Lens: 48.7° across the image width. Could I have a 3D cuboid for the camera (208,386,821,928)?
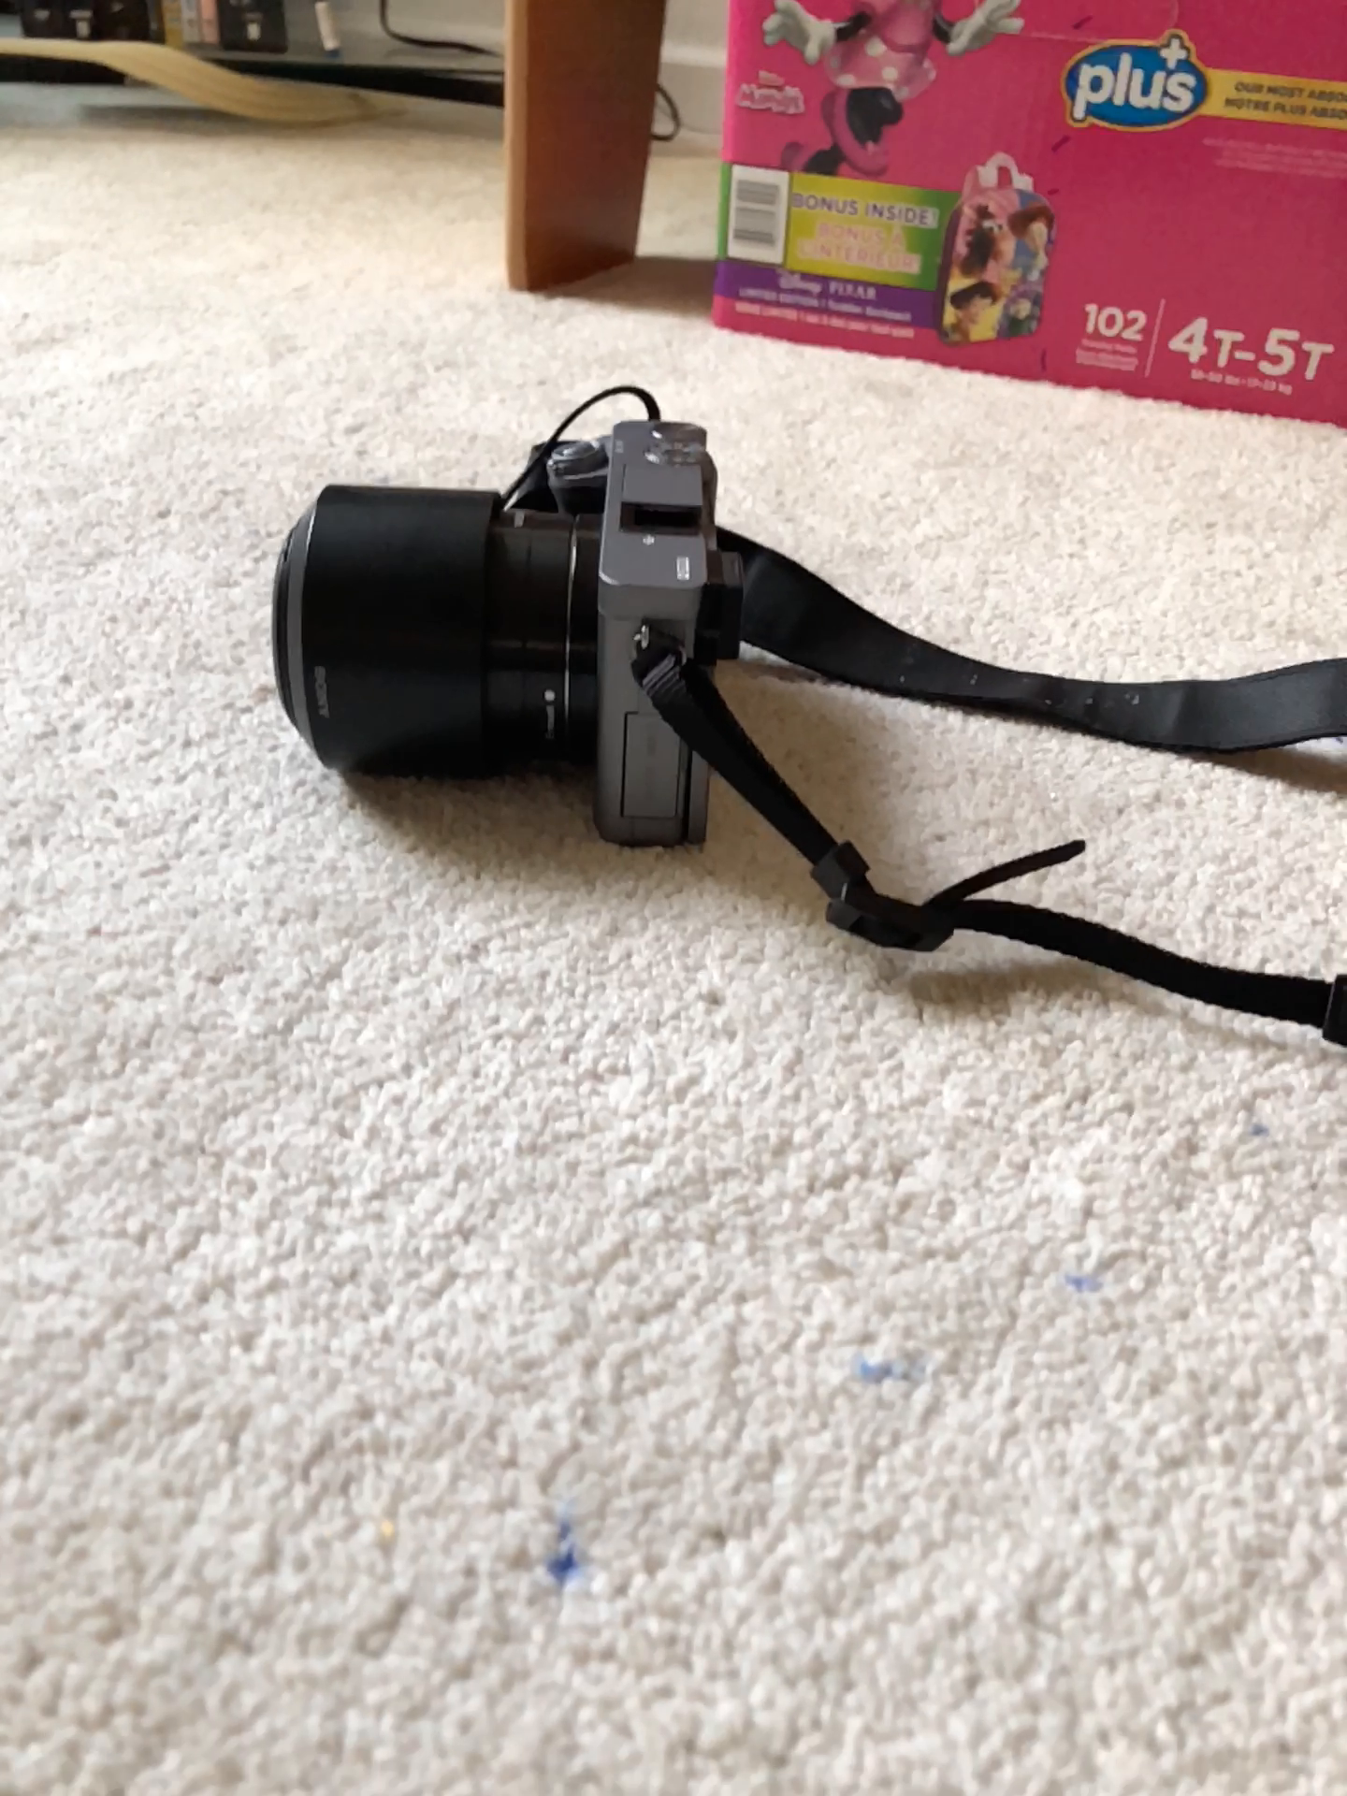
[{"bbox_3d":[-0.032,-0.063,0.346,0.110,0.070,0.141,2,33,-3],"label":"camera"}]
